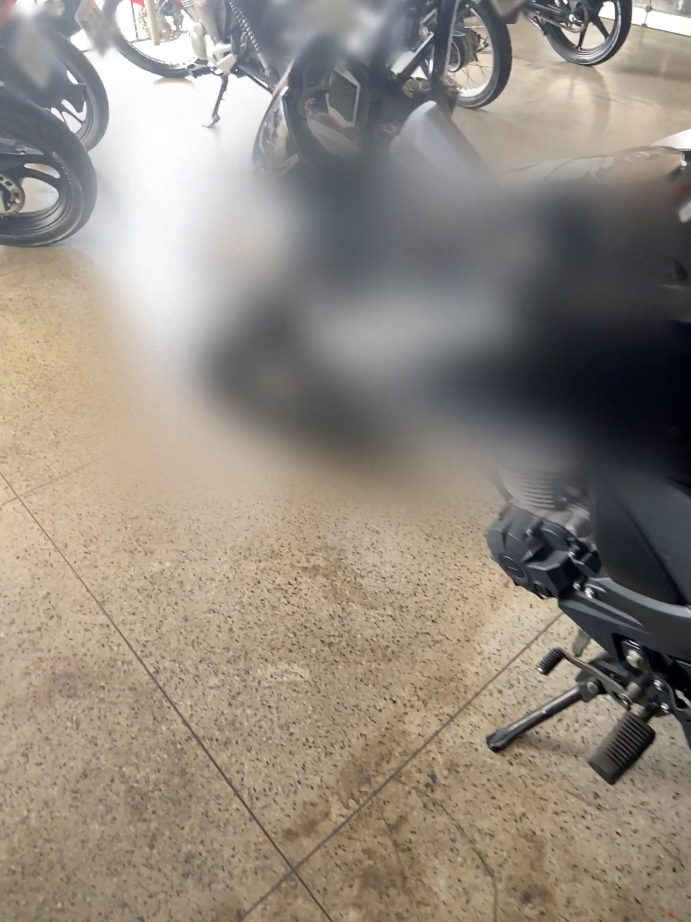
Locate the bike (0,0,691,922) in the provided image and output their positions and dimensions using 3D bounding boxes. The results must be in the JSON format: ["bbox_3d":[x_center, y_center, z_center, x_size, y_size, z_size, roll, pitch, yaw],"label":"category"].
[{"bbox_3d":[0.346,0.161,0.822,2.006,1.331,0.818,32,52,30],"label":"bike"}]
